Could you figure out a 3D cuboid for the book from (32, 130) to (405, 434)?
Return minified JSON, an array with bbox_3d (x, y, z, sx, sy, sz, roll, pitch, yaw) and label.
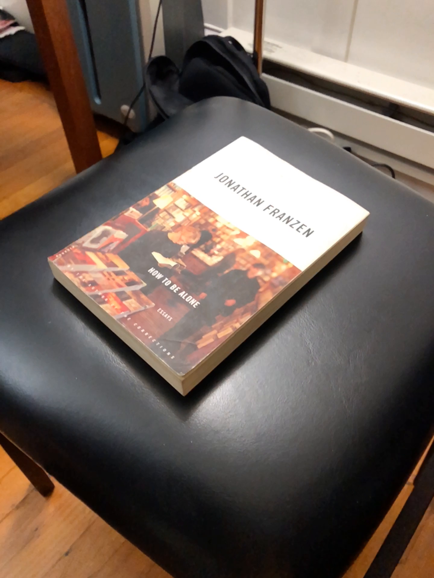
[{"bbox_3d":[0.007,-0.029,0.370,0.160,0.040,0.231,36,59,28],"label":"book"}]
